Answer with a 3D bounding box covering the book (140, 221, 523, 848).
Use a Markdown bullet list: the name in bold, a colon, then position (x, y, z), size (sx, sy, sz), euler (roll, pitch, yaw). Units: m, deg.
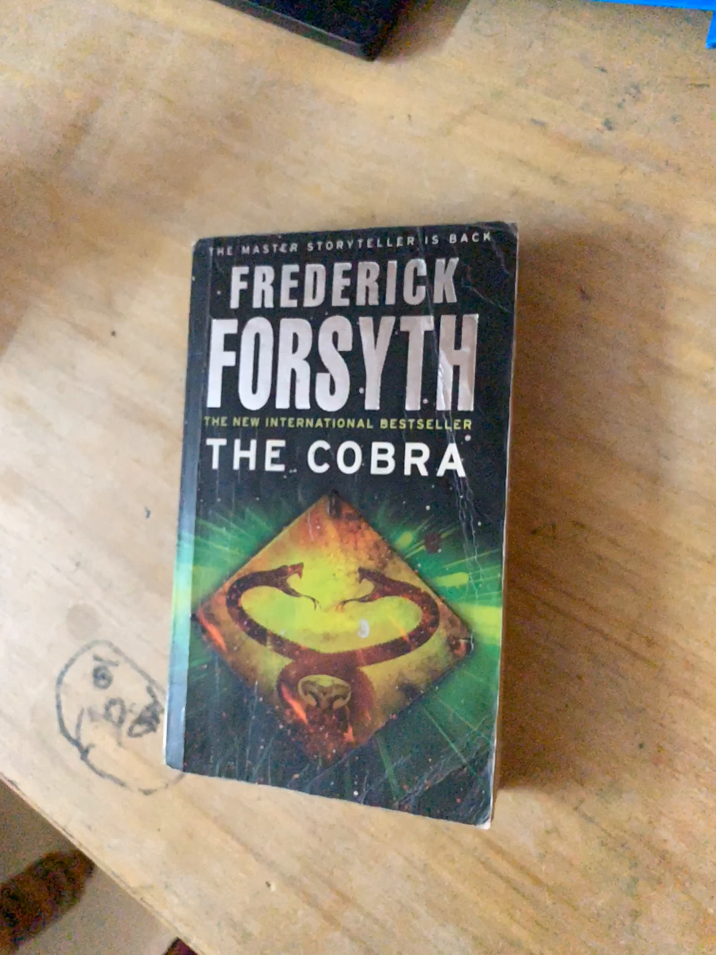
- **book**: position (-0.006, 0.012, 0.226), size (0.100, 0.040, 0.160), euler (2, 87, 17)
